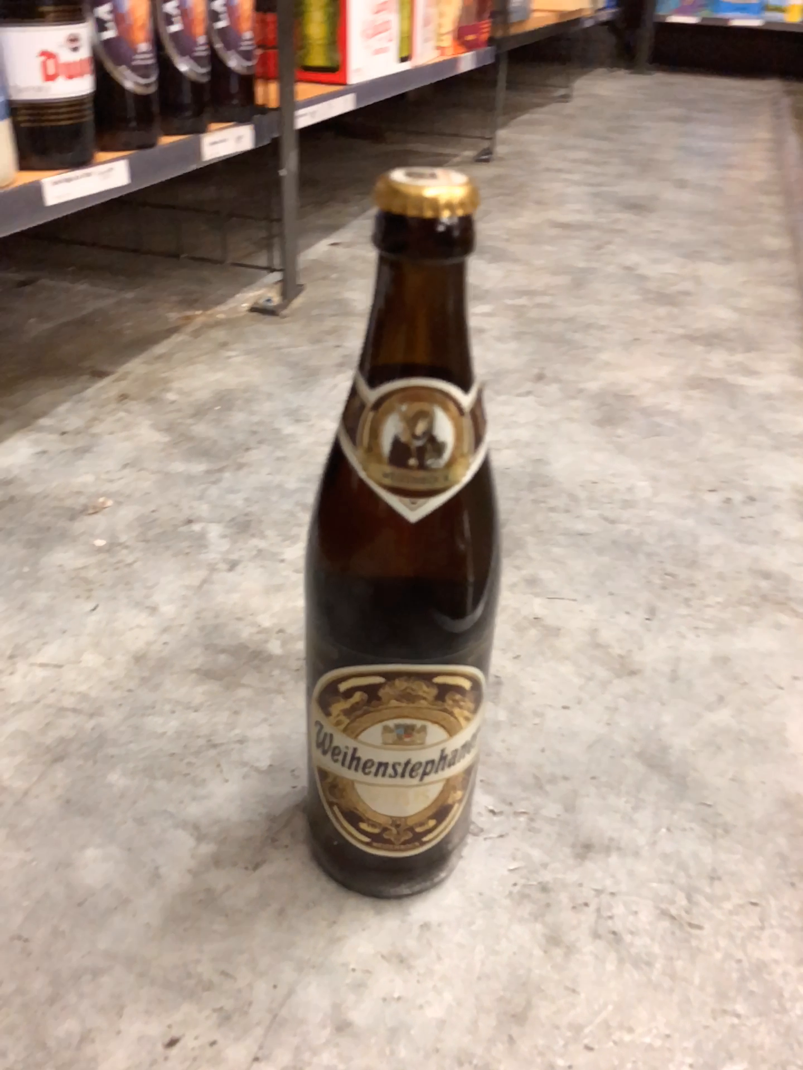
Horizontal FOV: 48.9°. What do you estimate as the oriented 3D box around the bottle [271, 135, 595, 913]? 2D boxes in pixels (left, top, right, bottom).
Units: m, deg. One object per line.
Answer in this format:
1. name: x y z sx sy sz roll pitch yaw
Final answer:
1. bottle: 0.003 0.013 0.287 0.070 0.249 0.070 2 33 -1
